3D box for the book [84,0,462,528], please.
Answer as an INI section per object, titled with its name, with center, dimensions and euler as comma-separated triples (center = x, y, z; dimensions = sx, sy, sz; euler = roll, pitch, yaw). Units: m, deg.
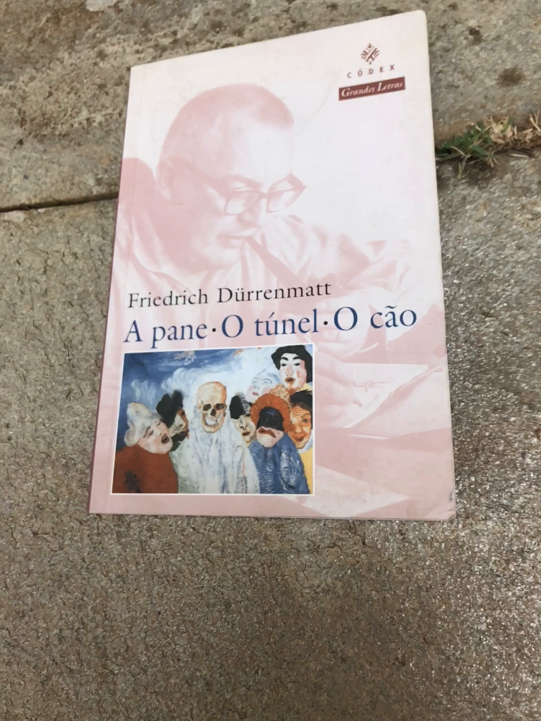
[book]
center = 0.001, -0.043, 0.249
dimensions = 0.138, 0.020, 0.210
euler = -2, 76, 14
